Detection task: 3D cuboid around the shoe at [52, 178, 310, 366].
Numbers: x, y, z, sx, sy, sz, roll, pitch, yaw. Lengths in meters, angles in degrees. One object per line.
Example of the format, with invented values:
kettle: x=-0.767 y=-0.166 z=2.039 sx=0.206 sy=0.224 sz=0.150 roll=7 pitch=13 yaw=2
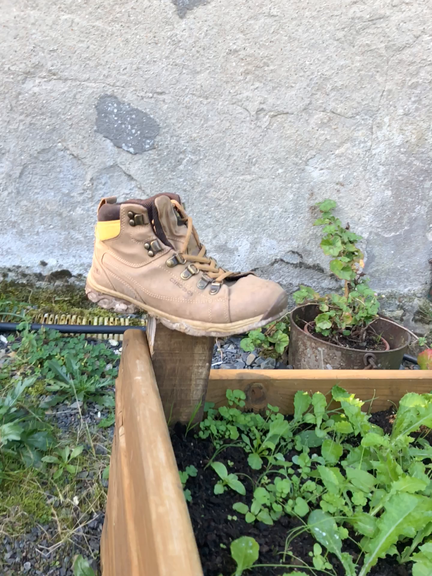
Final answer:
shoe: x=-0.050 y=-0.033 z=0.560 sx=0.280 sy=0.149 sz=0.101 roll=14 pitch=19 yaw=22
